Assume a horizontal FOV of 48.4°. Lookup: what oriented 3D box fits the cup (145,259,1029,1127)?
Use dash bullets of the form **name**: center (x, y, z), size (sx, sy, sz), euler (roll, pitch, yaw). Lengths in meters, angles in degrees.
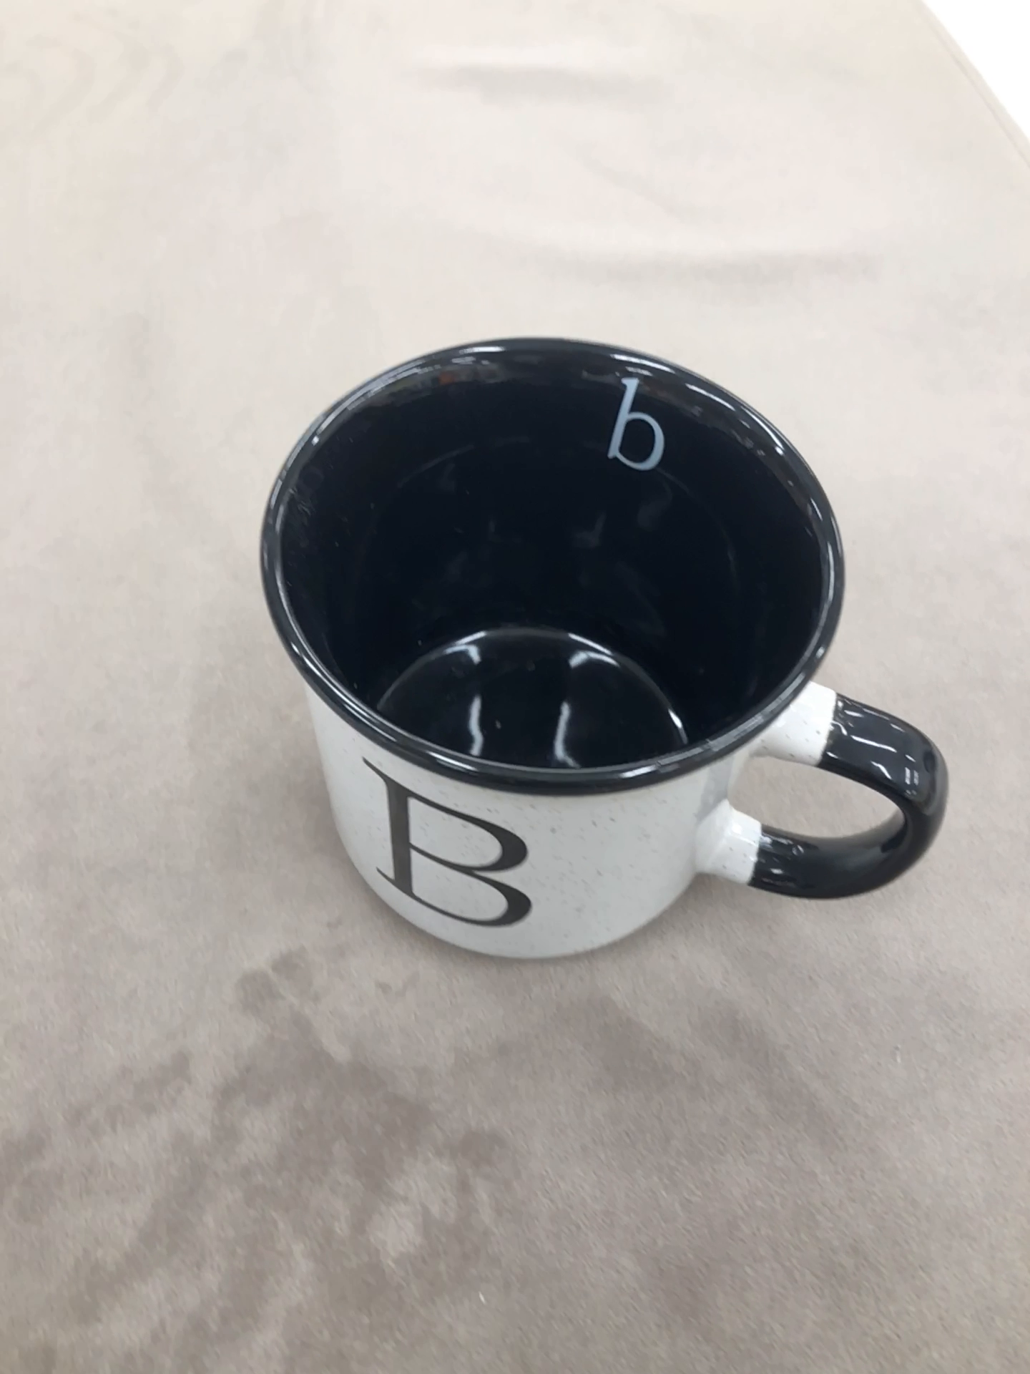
- **cup**: center (0.027, 0.000, 0.233), size (0.150, 0.090, 0.100), euler (20, 58, 10)
